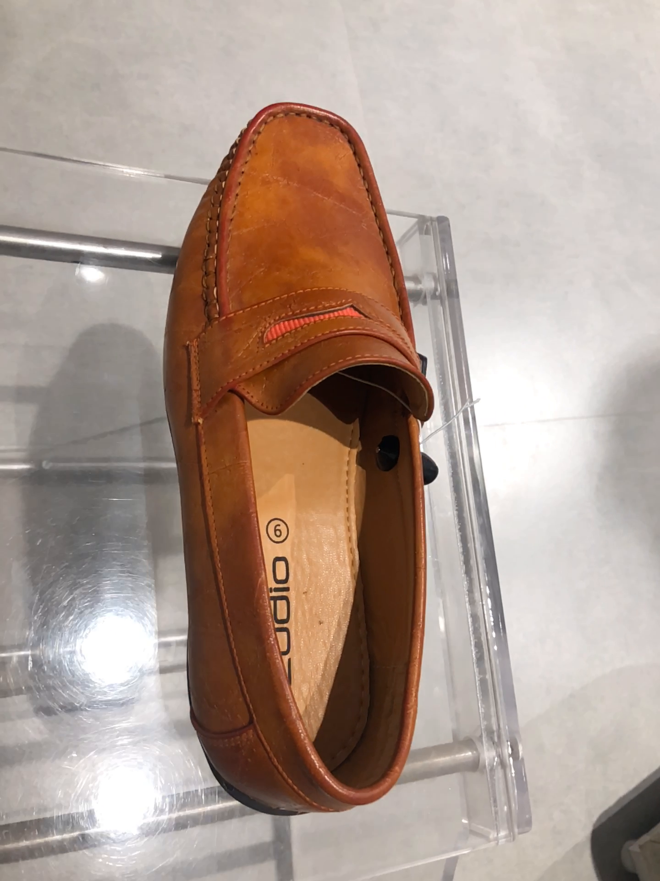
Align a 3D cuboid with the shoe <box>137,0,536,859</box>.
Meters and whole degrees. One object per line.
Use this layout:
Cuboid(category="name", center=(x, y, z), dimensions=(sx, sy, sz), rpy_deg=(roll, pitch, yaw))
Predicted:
Cuboid(category="shoe", center=(-0.010, -0.018, 0.288), dimensions=(0.110, 0.090, 0.290), rpy_deg=(3, 74, -23))
